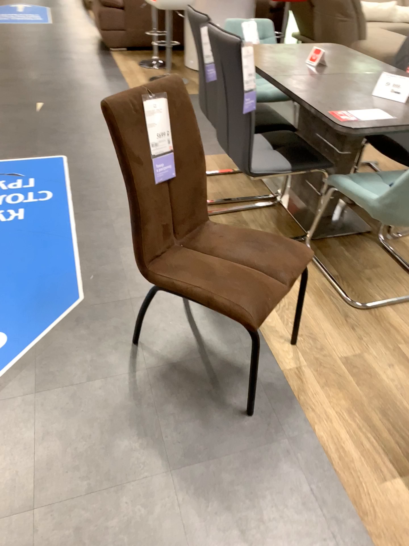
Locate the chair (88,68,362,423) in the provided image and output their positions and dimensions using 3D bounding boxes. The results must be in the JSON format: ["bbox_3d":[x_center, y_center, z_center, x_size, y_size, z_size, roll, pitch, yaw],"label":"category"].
[{"bbox_3d":[0.043,-0.077,1.420,0.591,0.965,0.442,24,43,23],"label":"chair"}]
